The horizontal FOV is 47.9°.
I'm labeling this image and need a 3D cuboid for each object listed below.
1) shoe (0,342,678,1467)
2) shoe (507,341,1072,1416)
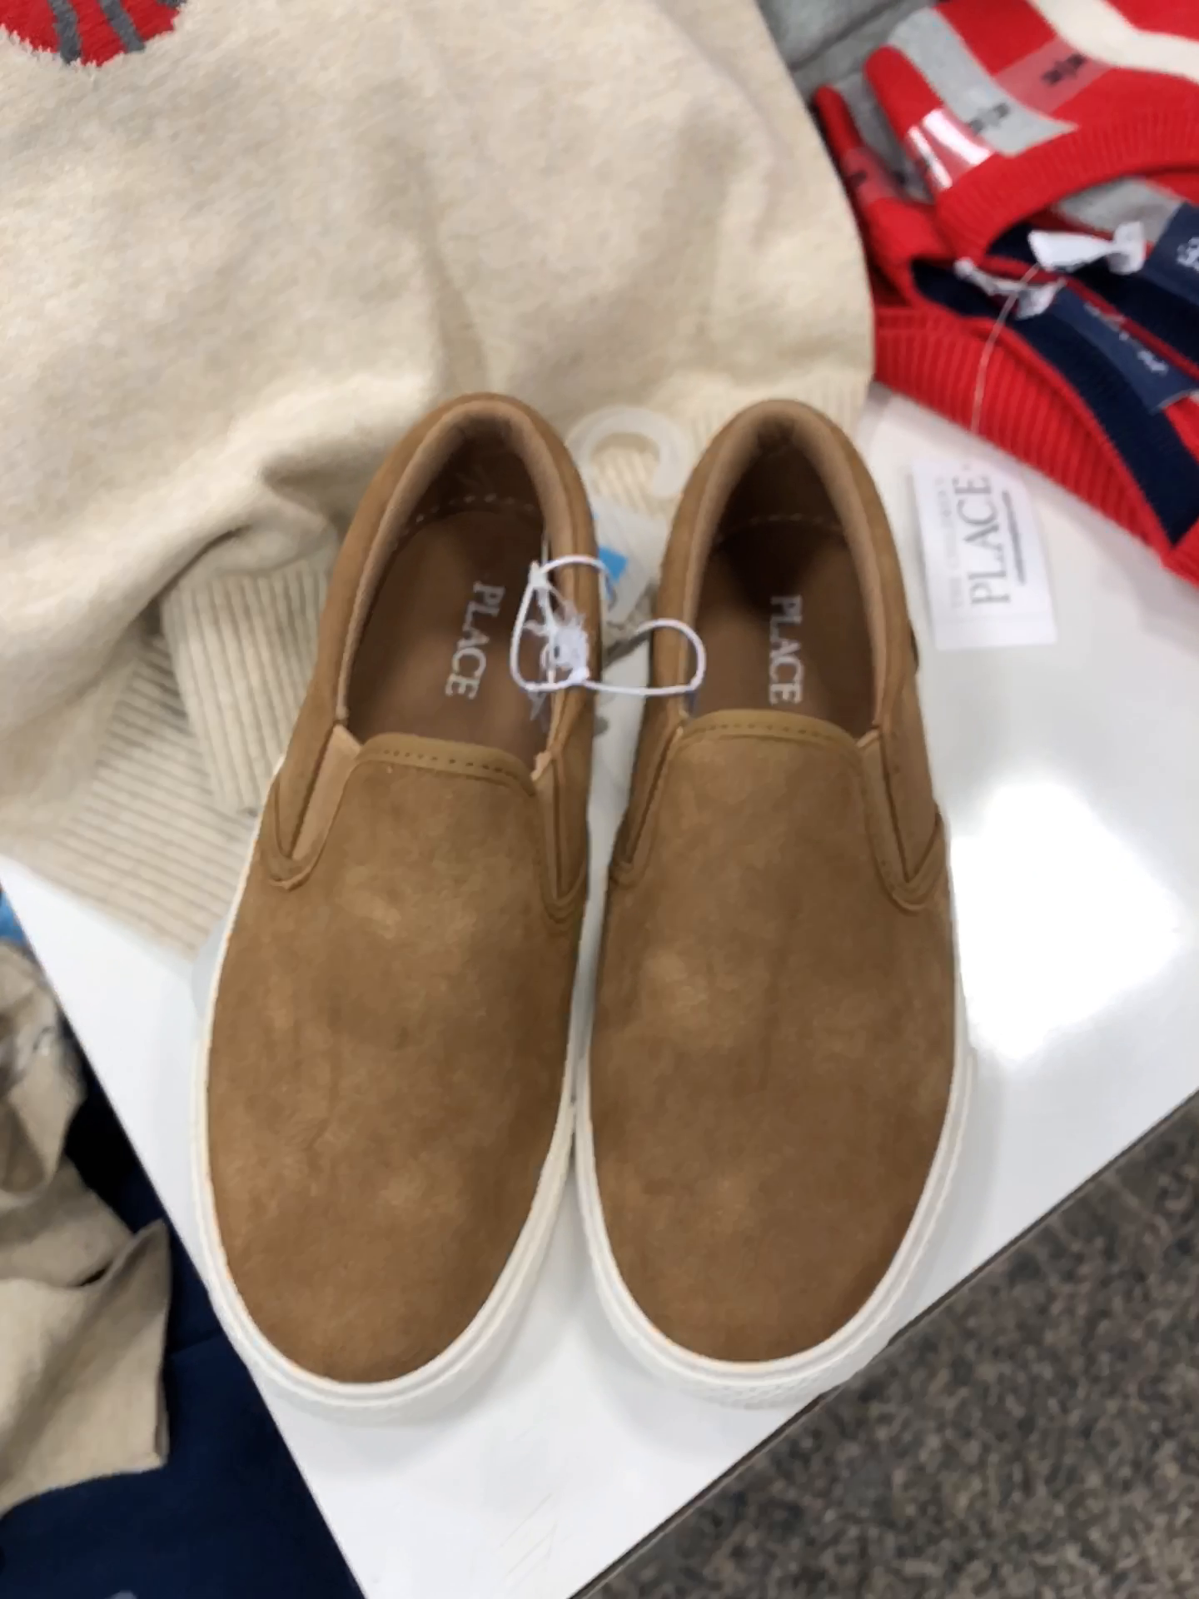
[{"bbox_3d":[-0.044,0.014,0.302,0.092,0.080,0.230,5,63,9],"label":"shoe"},{"bbox_3d":[0.041,0.010,0.310,0.092,0.080,0.230,0,62,6],"label":"shoe"}]
